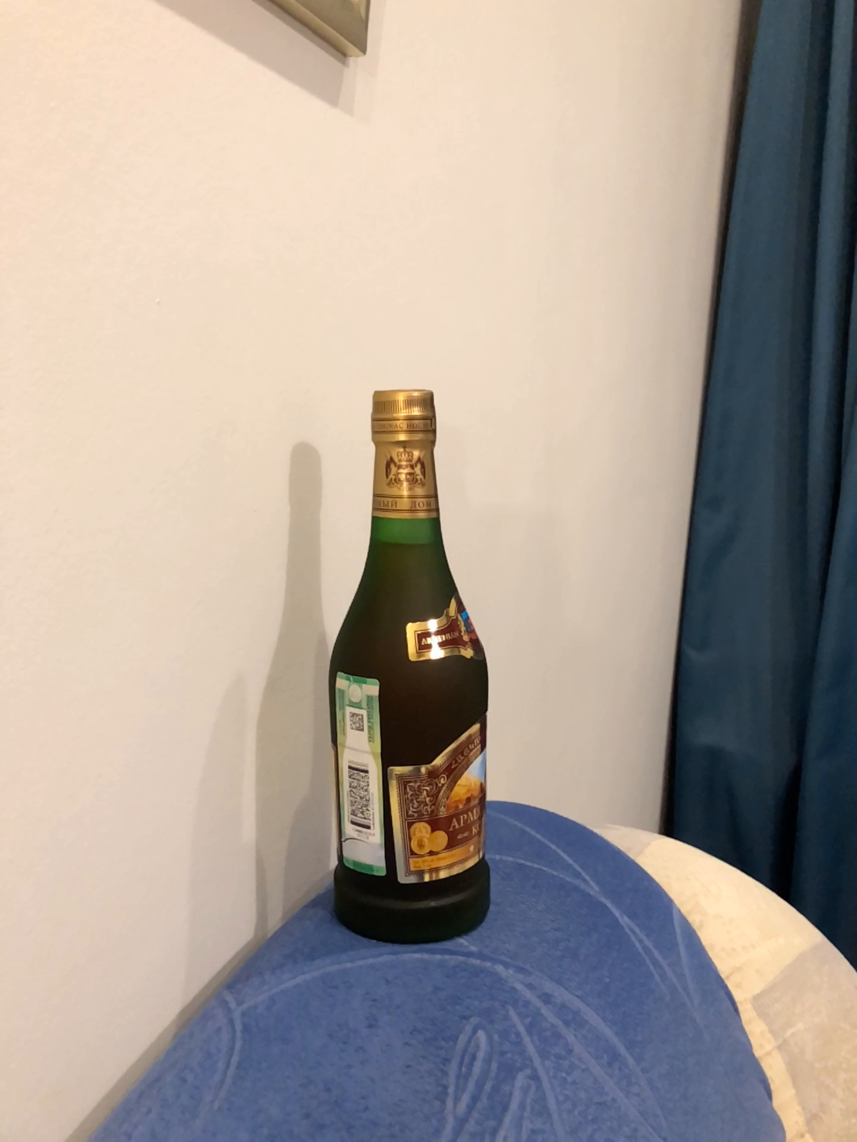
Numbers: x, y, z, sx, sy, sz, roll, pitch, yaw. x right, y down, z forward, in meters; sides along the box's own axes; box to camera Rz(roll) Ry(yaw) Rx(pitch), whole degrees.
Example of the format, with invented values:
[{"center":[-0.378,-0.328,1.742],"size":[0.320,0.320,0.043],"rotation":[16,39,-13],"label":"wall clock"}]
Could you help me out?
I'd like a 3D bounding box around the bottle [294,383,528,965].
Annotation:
[{"center":[-0.004,0.038,0.436],"size":[0.080,0.243,0.090],"rotation":[3,10,16],"label":"bottle"}]
